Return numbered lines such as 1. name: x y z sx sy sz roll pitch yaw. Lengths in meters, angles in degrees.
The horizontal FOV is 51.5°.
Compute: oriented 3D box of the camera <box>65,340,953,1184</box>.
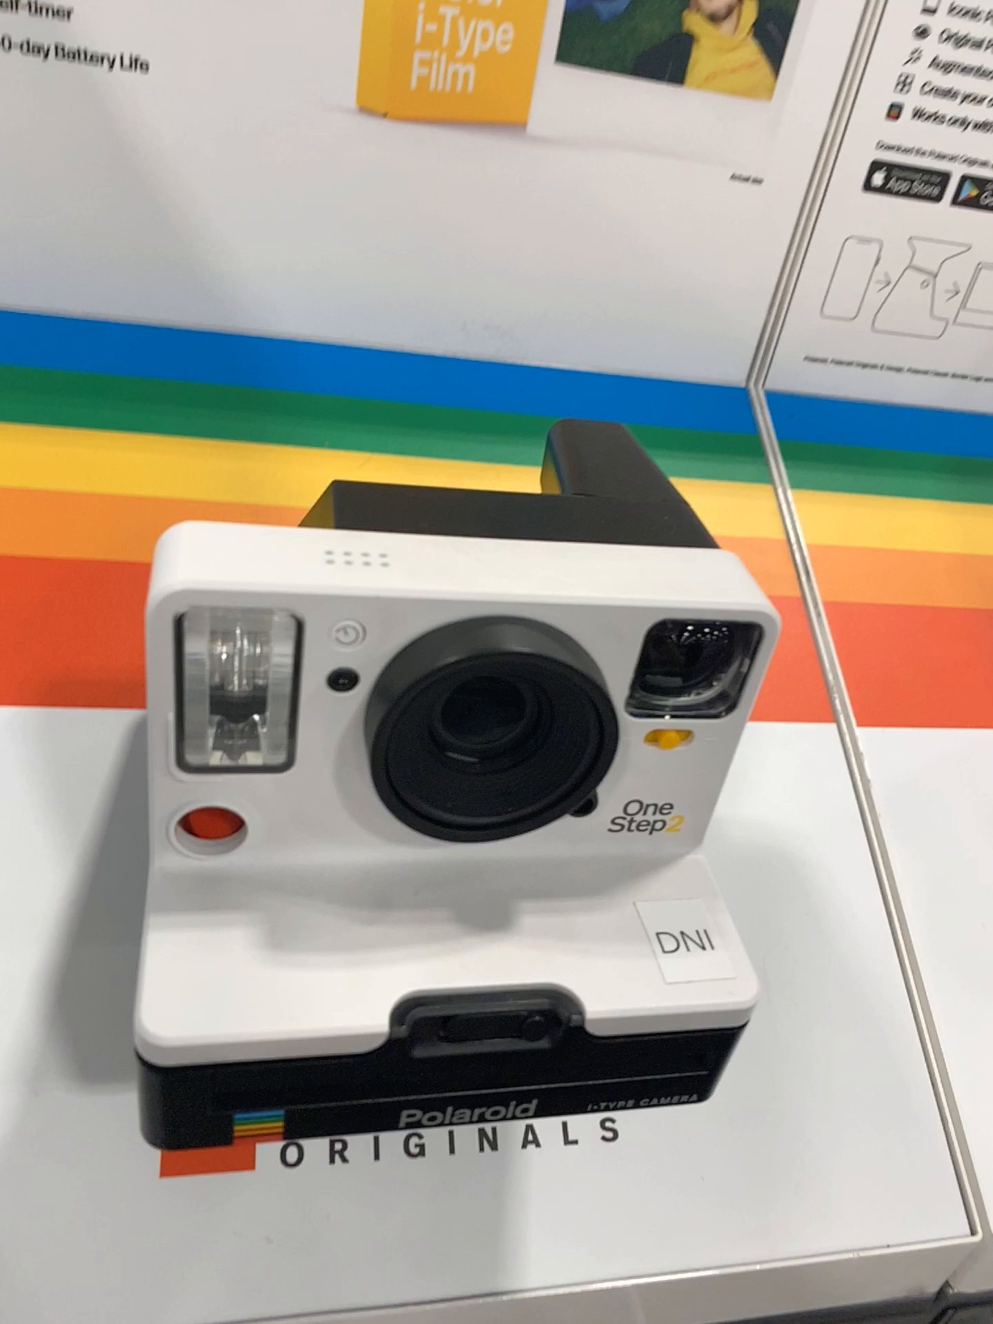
1. camera: -0.013 0.008 0.216 0.120 0.090 0.145 1 36 -15
